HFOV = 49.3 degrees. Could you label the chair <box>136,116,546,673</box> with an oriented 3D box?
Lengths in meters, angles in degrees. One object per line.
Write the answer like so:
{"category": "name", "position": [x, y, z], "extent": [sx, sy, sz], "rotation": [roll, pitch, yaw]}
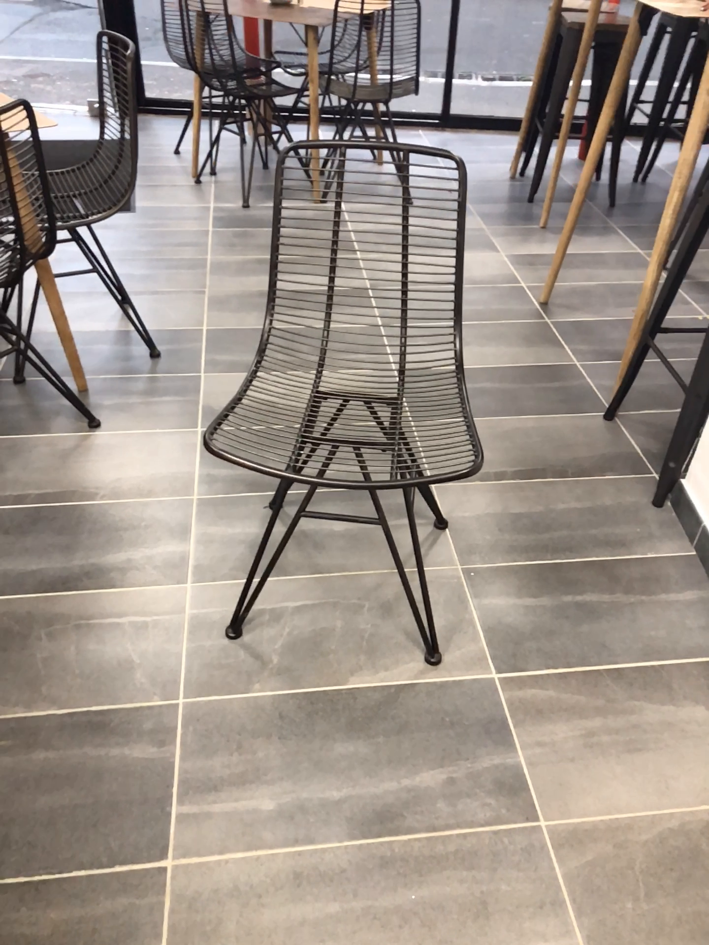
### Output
{"category": "chair", "position": [-0.002, -0.134, 1.378], "extent": [0.500, 0.785, 0.523], "rotation": [6, 38, 5]}
